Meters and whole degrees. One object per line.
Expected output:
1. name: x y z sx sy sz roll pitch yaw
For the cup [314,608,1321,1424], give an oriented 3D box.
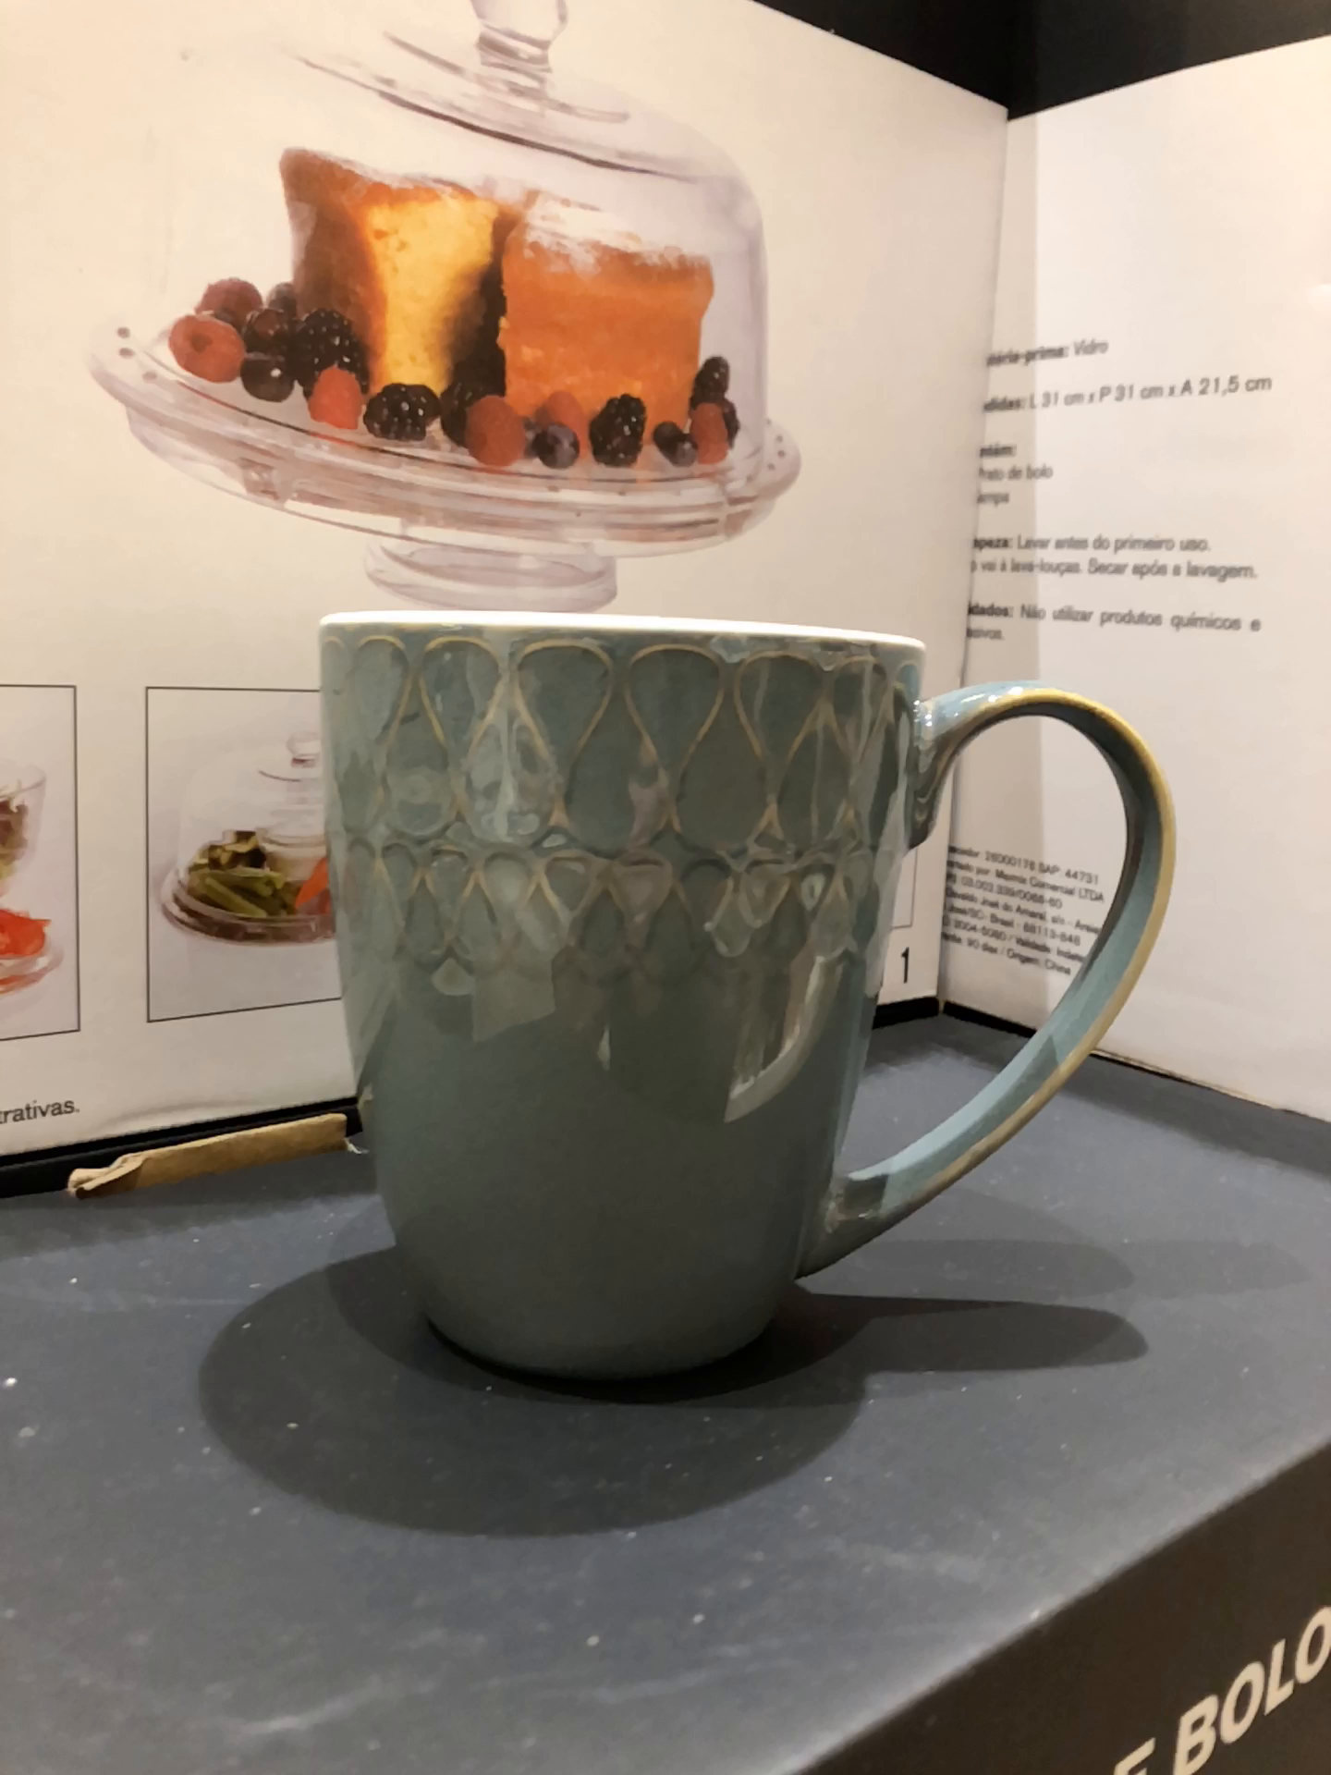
1. cup: 0.013 0.010 0.237 0.130 0.100 0.090 1 10 -15
